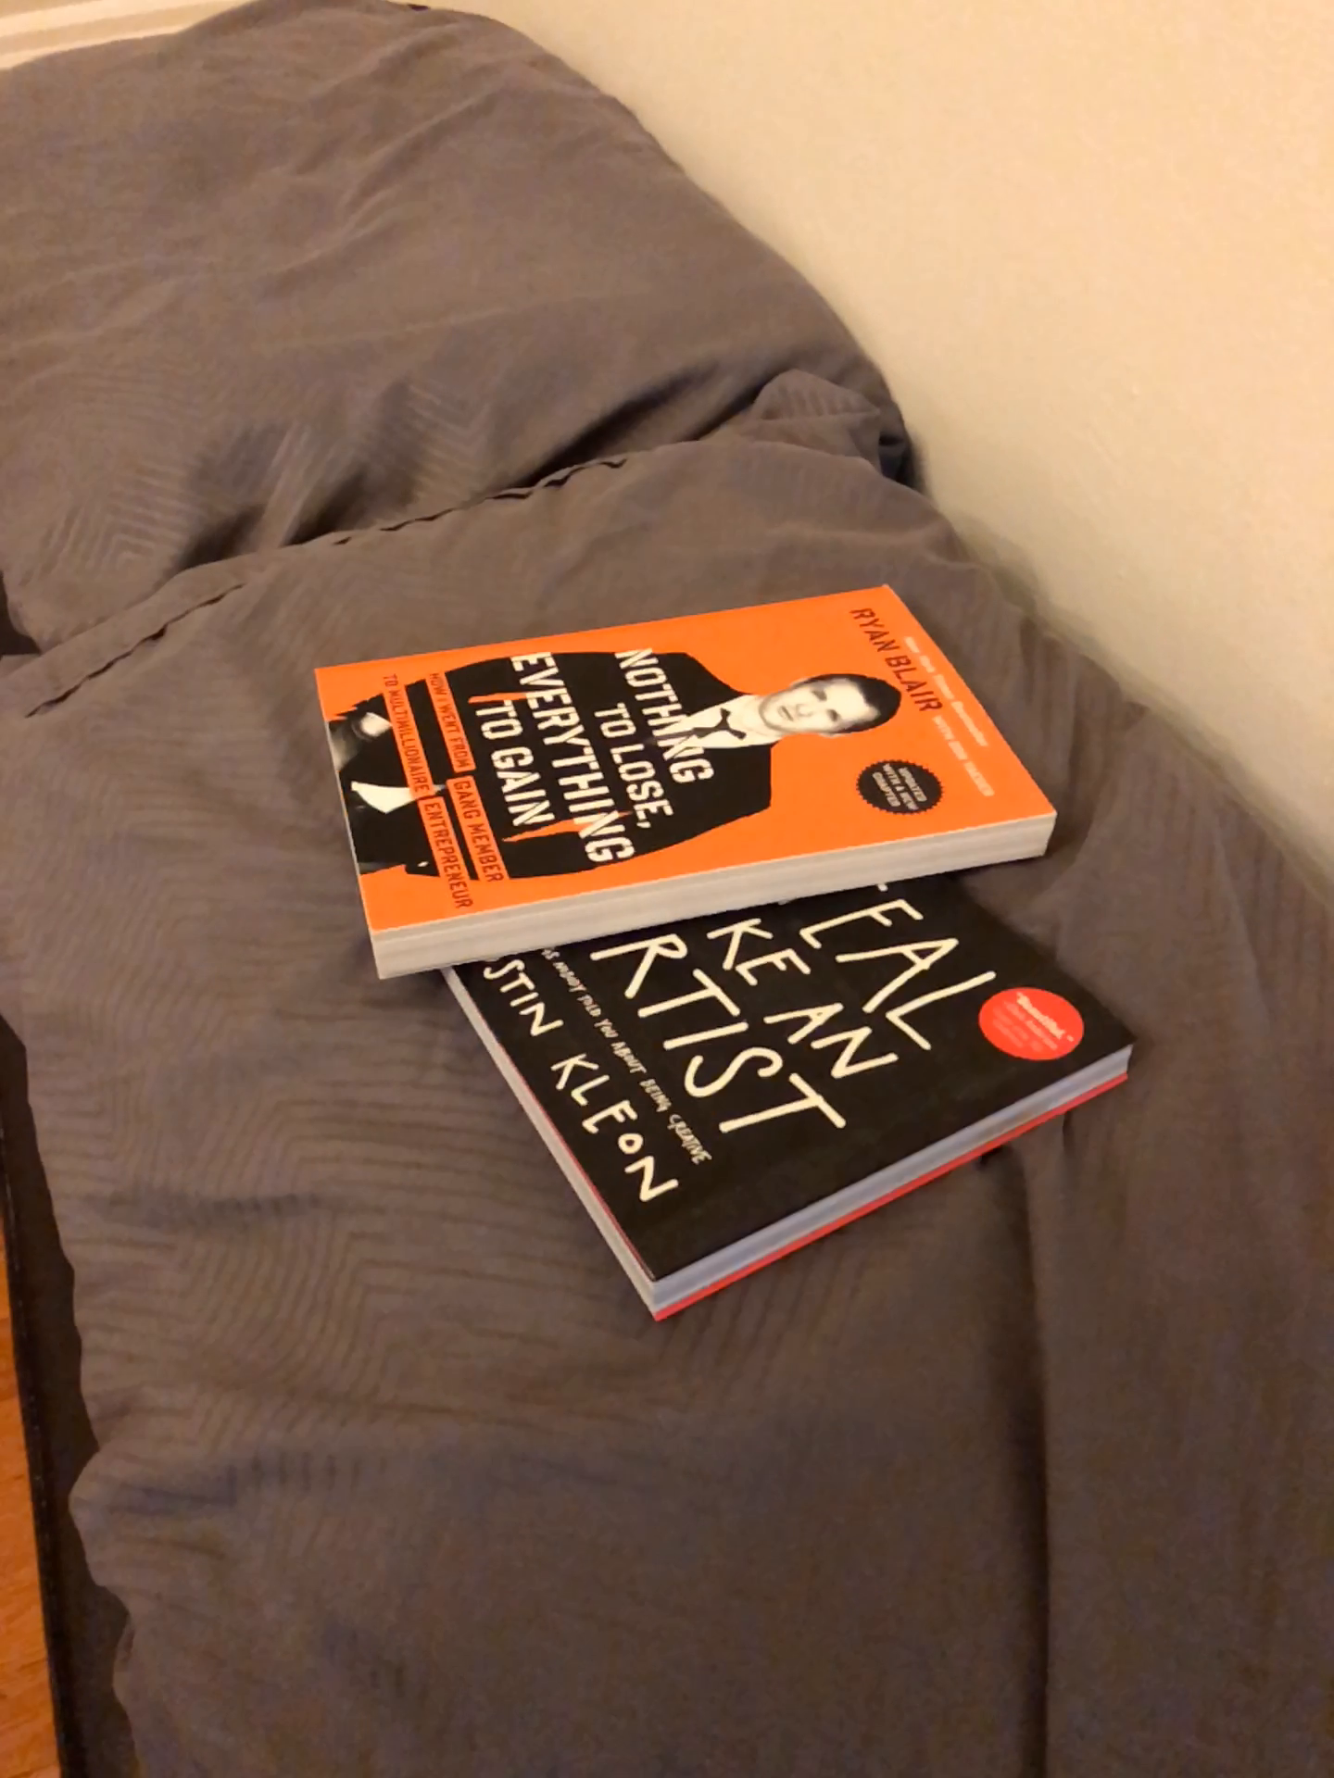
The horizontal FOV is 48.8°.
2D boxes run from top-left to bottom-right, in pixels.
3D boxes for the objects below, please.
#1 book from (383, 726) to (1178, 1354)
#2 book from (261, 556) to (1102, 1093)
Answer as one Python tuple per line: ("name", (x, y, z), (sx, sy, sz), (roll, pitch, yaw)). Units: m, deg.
("book", (0.028, 0.028, 0.423), (0.170, 0.020, 0.151), (-22, 50, -22))
("book", (-0.004, -0.035, 0.482), (0.230, 0.020, 0.171), (-13, 48, -12))
